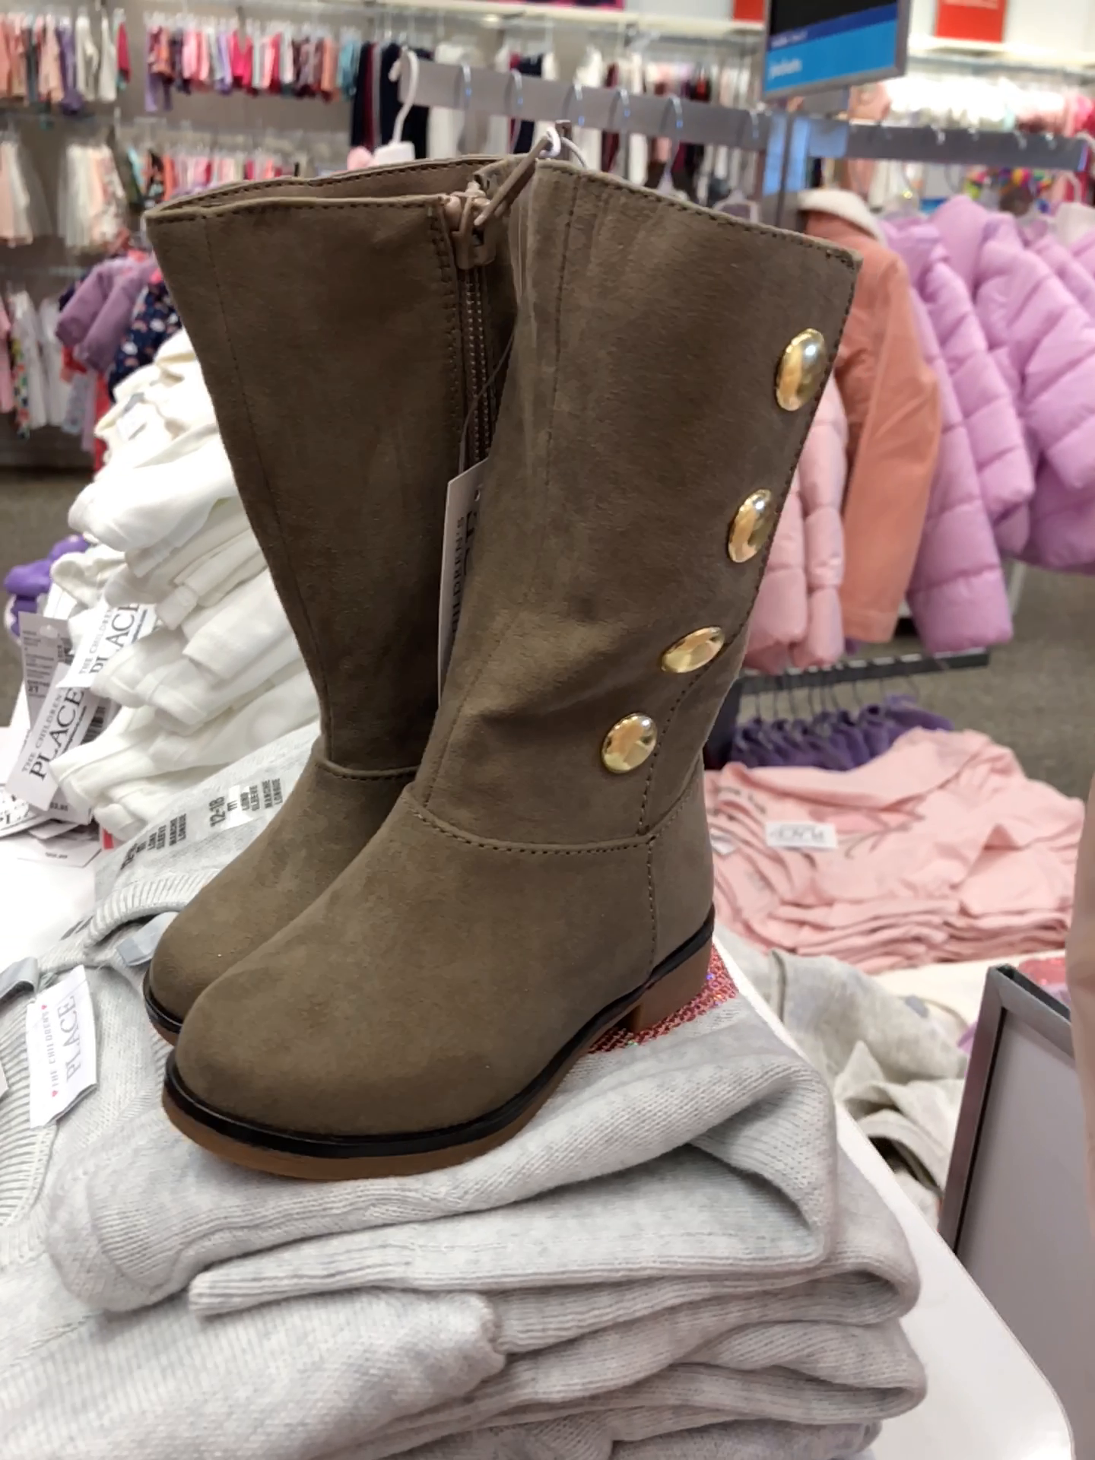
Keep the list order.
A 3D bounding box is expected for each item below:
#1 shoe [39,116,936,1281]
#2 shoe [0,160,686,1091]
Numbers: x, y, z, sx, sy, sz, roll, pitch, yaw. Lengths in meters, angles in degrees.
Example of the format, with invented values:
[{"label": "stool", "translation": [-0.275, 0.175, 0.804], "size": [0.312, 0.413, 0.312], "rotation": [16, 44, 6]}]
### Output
[{"label": "shoe", "translation": [-0.008, -0.015, 0.251], "size": [0.148, 0.184, 0.070], "rotation": [-15, 28, -38]}, {"label": "shoe", "translation": [-0.050, -0.035, 0.287], "size": [0.155, 0.164, 0.070], "rotation": [-26, 35, -32]}]
